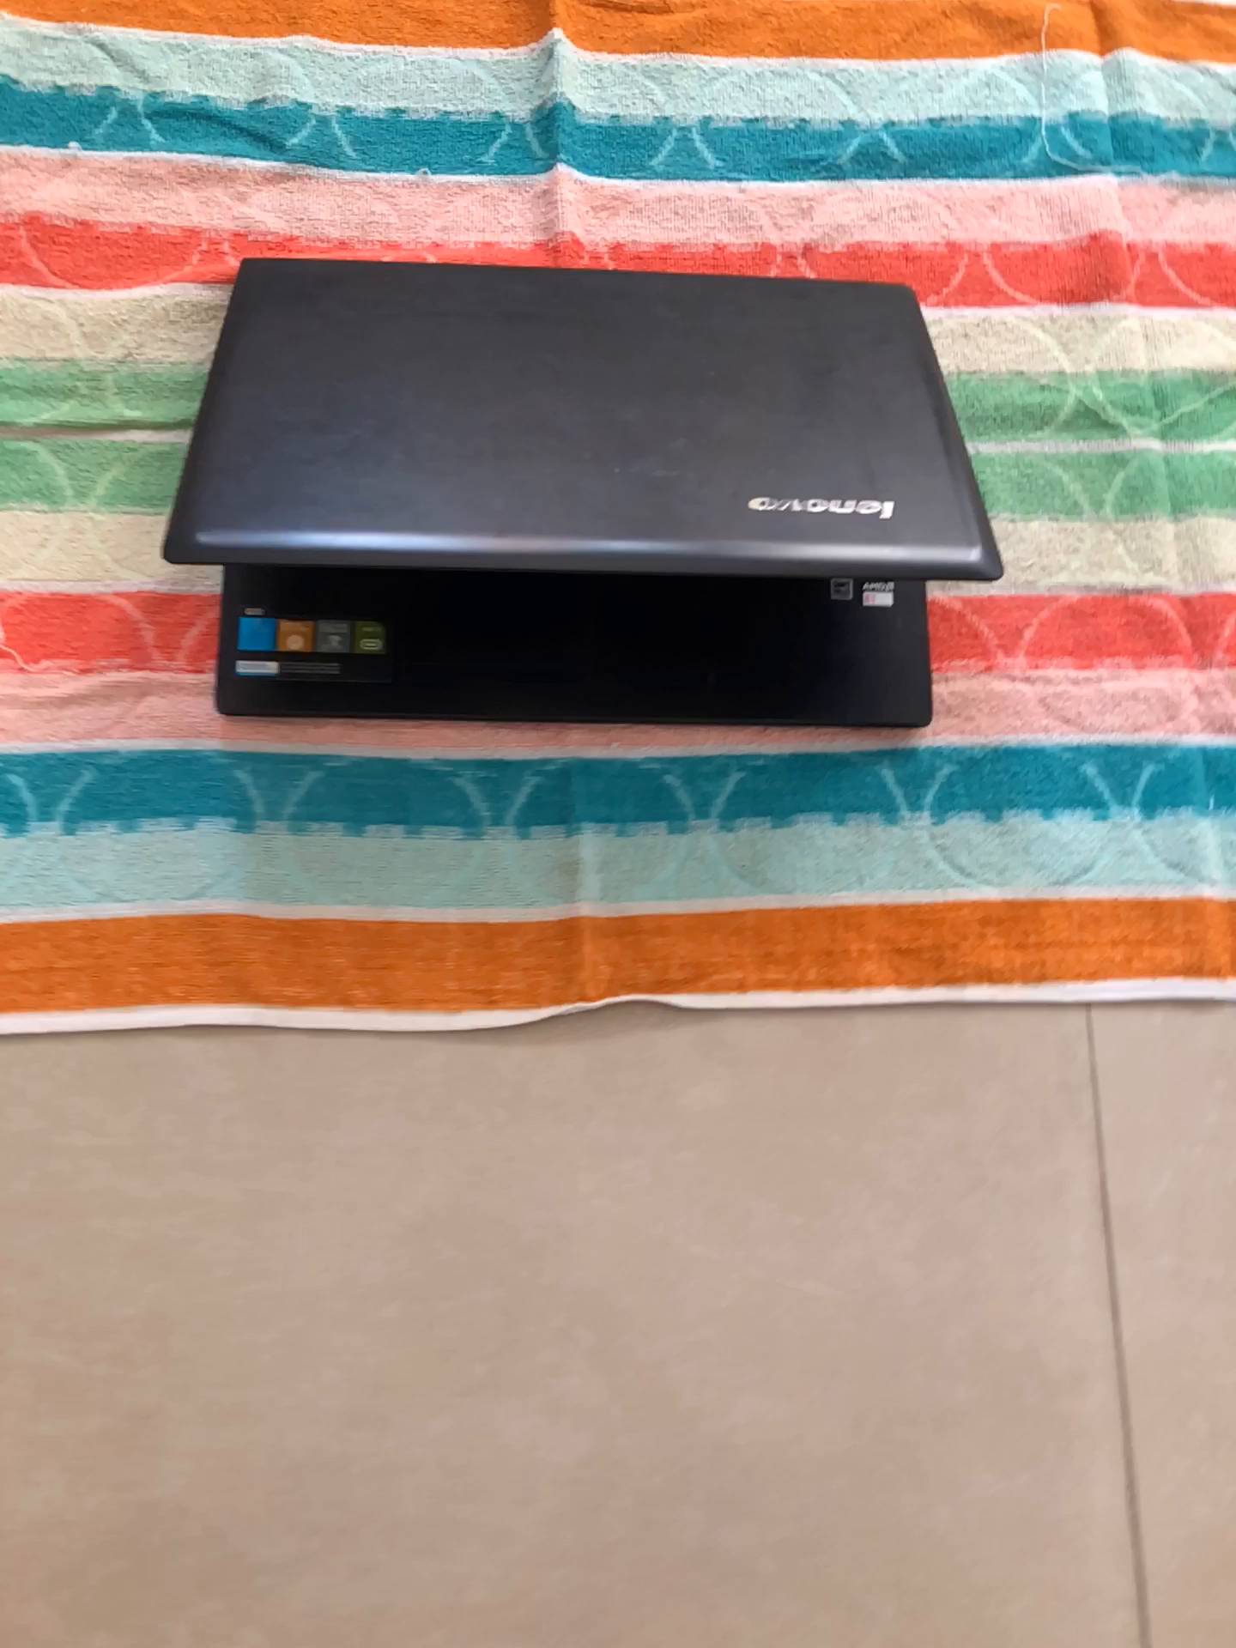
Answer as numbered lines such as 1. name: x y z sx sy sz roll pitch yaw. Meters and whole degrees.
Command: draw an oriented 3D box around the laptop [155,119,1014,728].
1. laptop: -0.015 -0.190 0.674 0.363 0.126 0.253 1 73 -4
